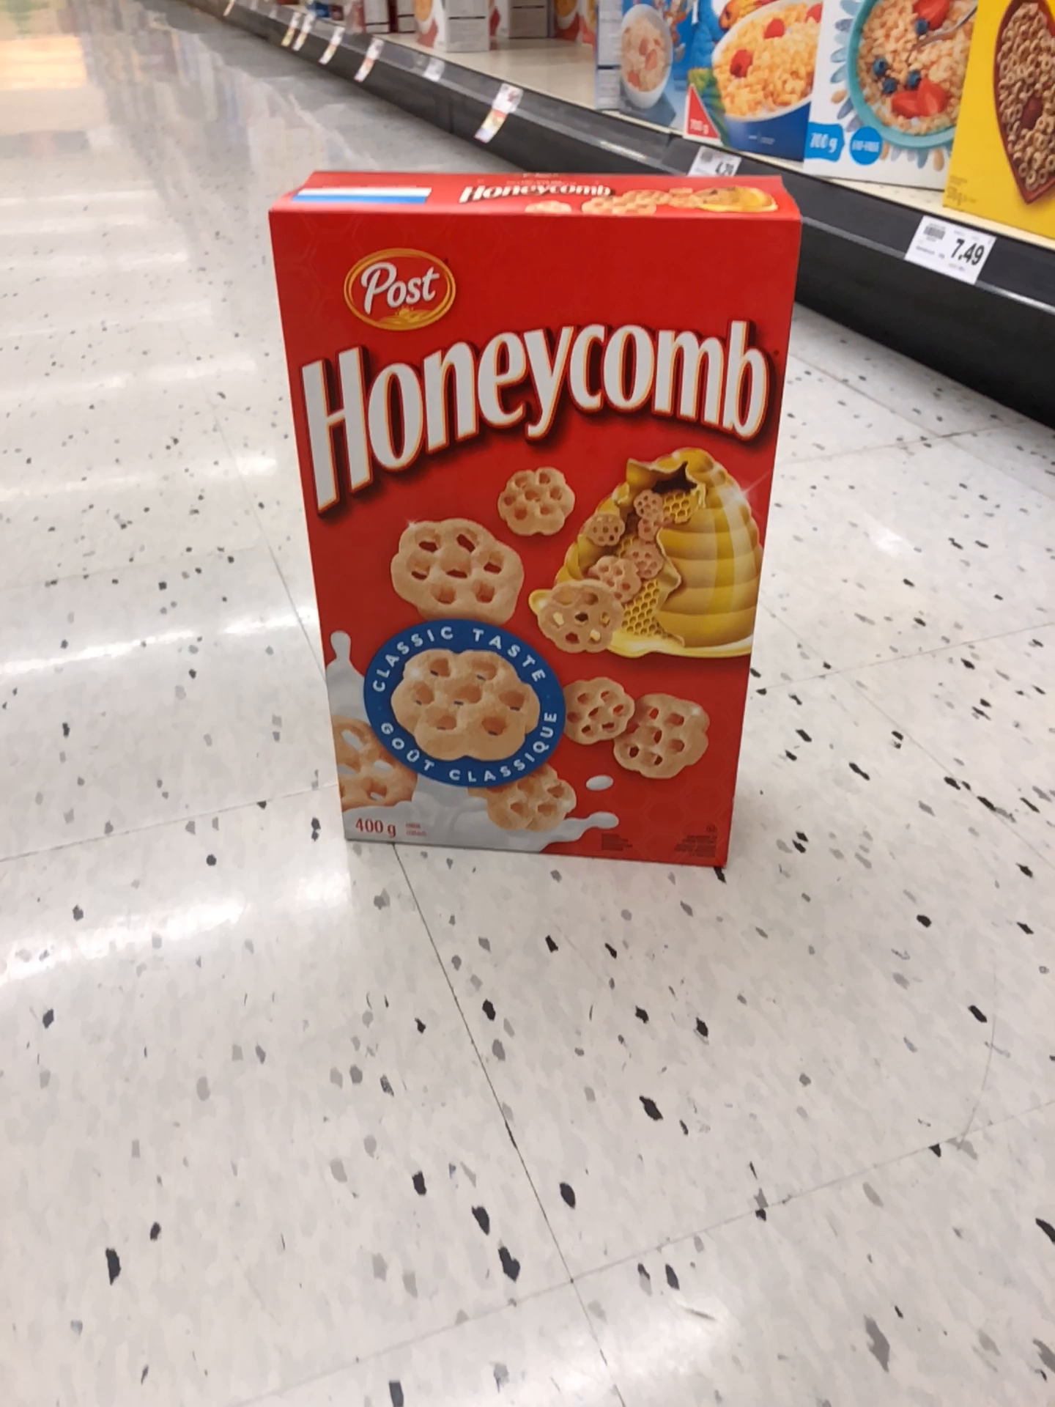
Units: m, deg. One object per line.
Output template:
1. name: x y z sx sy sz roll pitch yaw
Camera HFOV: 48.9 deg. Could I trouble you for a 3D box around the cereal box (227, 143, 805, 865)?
1. cereal box: -0.001 -0.076 0.514 0.200 0.298 0.081 4 34 6
